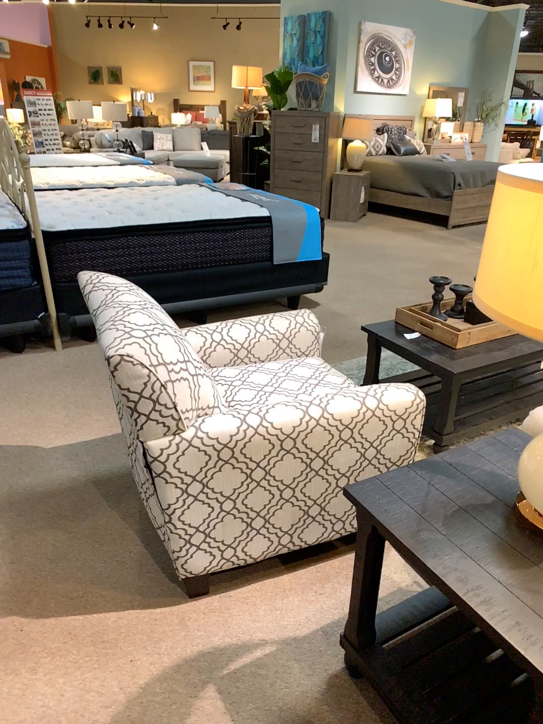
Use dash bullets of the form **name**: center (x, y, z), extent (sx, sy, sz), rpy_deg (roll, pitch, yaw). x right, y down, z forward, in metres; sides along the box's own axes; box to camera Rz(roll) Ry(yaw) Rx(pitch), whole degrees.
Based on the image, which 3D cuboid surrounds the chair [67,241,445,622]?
- **chair**: center (-0.124, 0.119, 1.955), extent (0.964, 0.847, 0.878), rpy_deg (-9, 26, -21)
